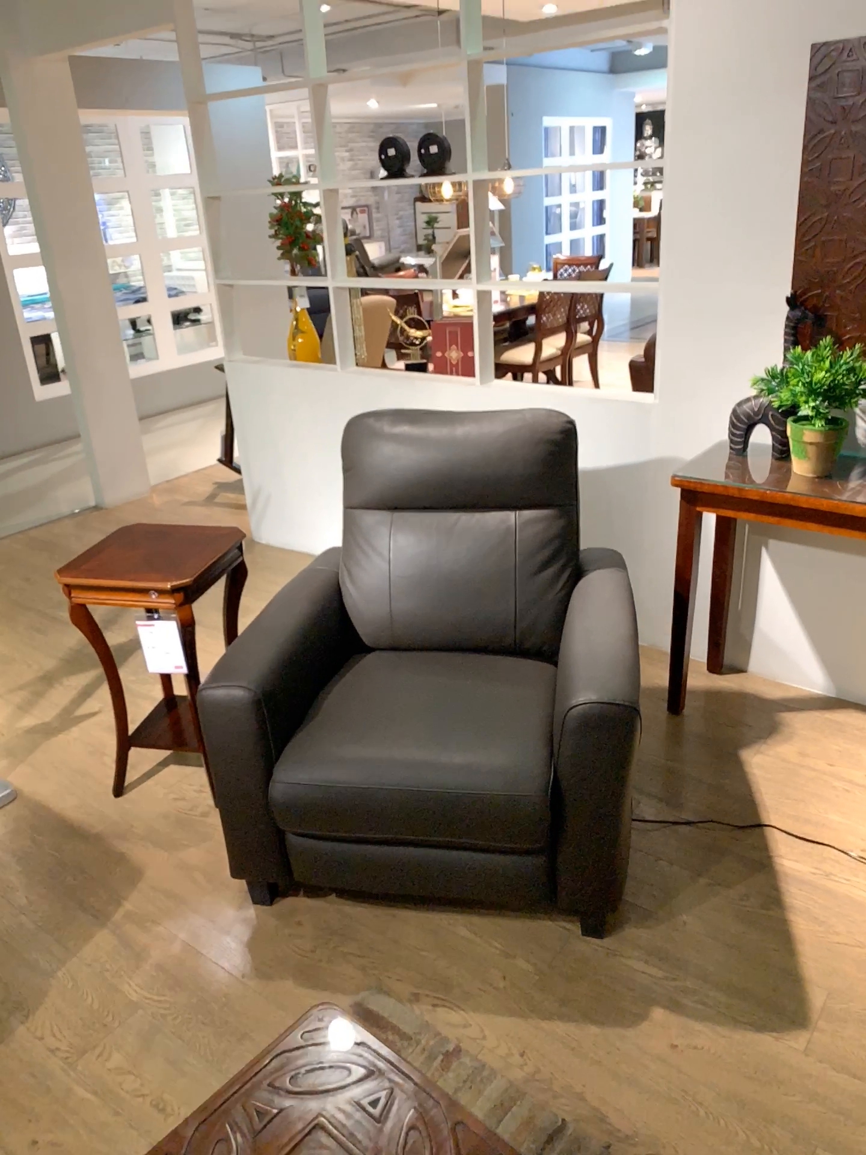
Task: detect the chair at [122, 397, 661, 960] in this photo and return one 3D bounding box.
[{"bbox_3d":[0.015,0.146,2.098,0.940,0.926,0.923,1,24,11],"label":"chair"}]
